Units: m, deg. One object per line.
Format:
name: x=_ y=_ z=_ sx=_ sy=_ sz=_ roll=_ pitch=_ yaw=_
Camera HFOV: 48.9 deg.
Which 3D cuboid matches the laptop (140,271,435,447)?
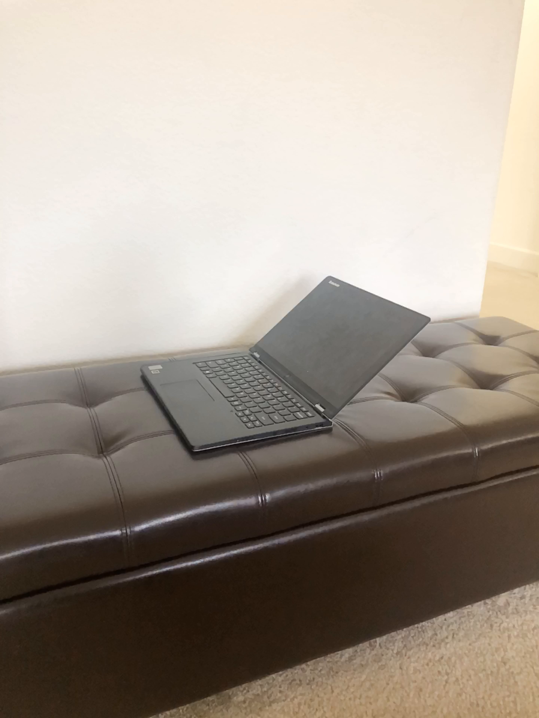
laptop: x=0.010 y=-0.023 z=0.820 sx=0.317 sy=0.115 sz=0.262 roll=-9 pitch=23 yaw=-23
